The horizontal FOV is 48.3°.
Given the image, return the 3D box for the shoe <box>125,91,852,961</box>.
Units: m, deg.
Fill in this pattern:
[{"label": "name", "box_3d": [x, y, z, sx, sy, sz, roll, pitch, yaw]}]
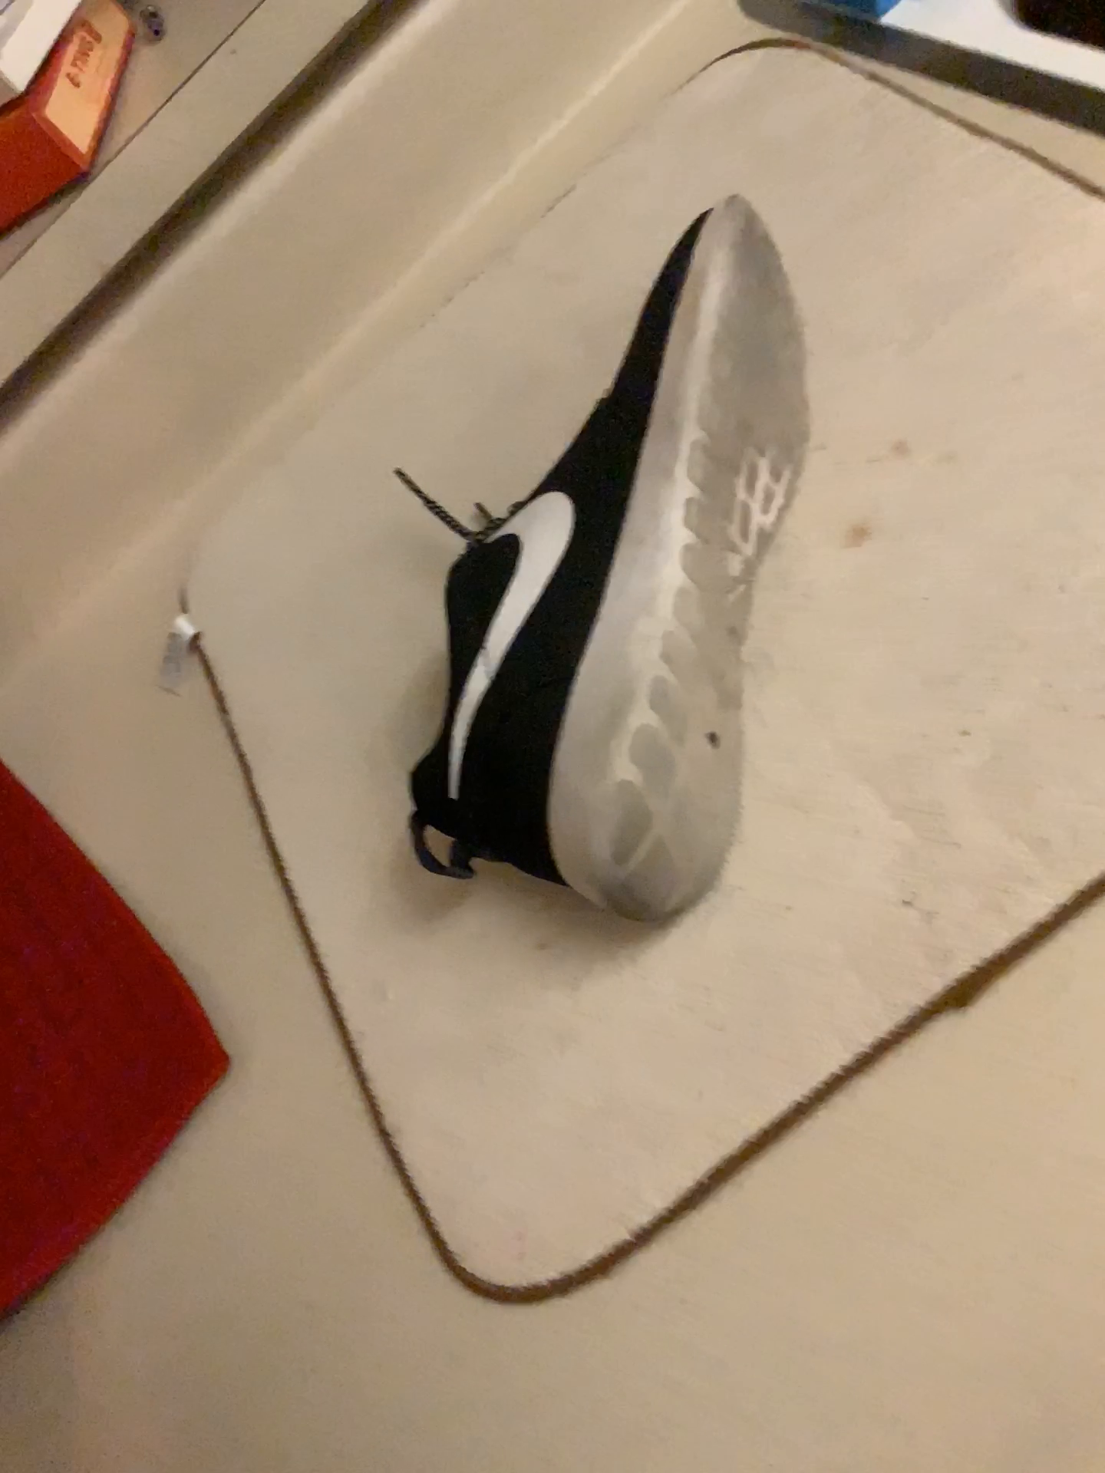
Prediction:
[{"label": "shoe", "box_3d": [-0.012, -0.071, 0.448, 0.180, 0.100, 0.270, -1, 64, 33]}]
